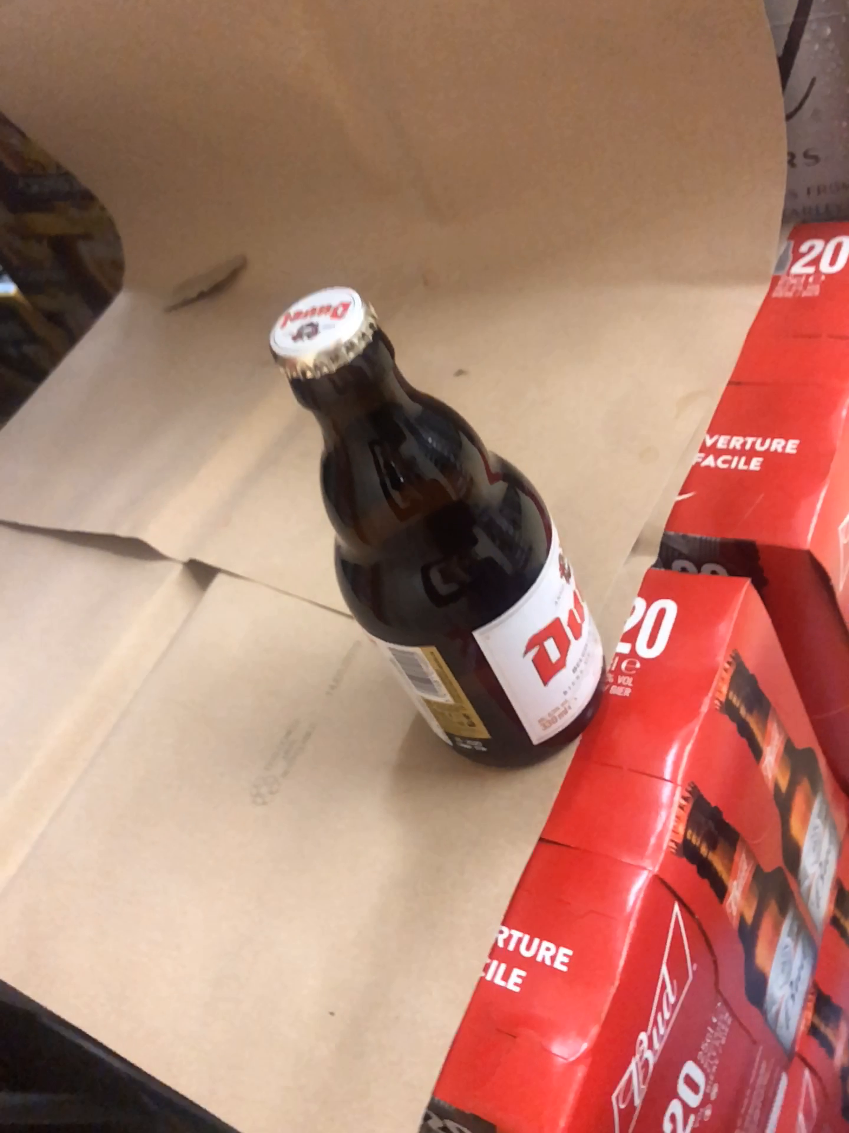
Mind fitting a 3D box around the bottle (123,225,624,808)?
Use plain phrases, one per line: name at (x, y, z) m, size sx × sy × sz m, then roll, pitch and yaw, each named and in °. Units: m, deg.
bottle at (0.003, 0.001, 0.283) m, size 0.070 × 0.169 × 0.080 m, roll -6°, pitch 53°, yaw 24°
